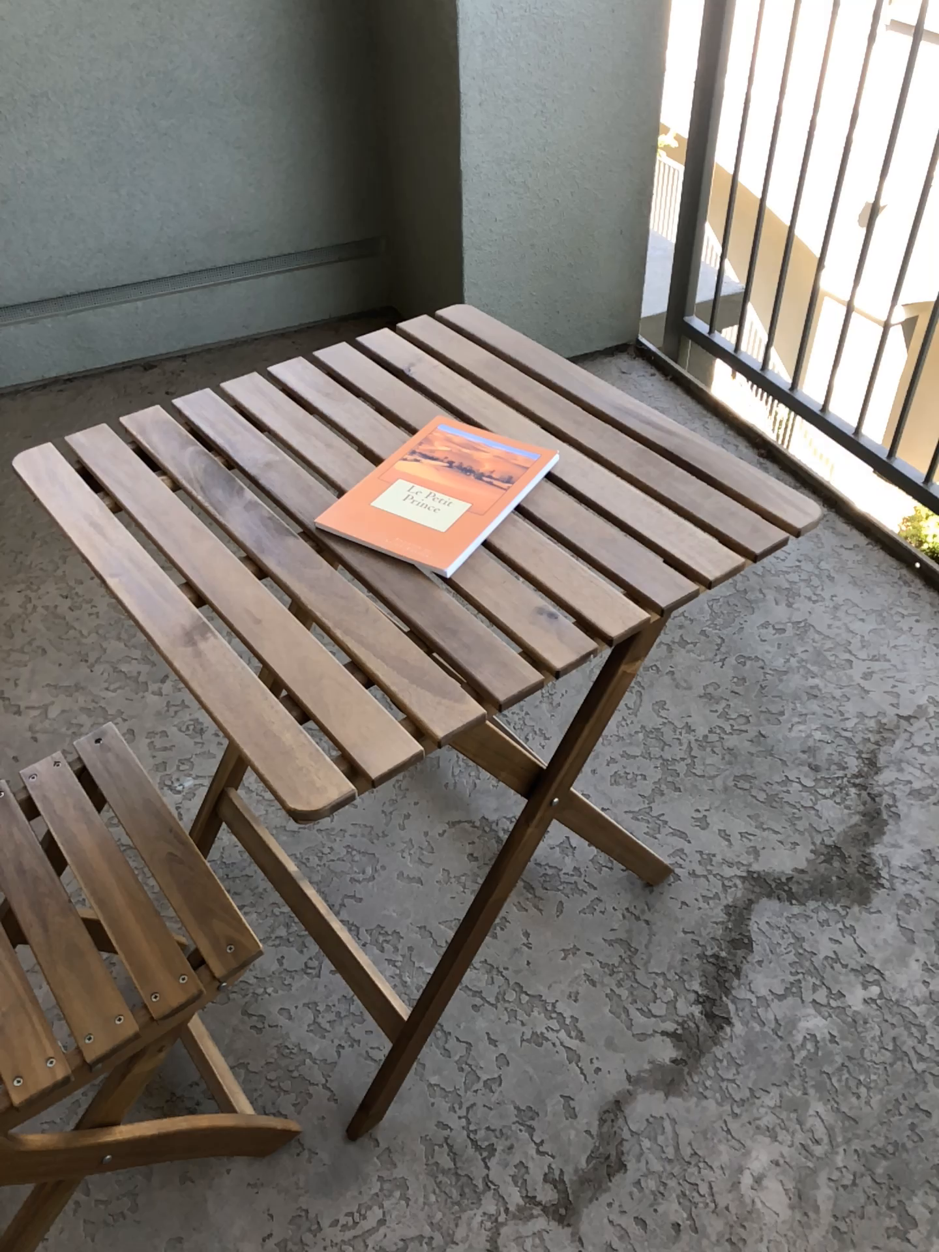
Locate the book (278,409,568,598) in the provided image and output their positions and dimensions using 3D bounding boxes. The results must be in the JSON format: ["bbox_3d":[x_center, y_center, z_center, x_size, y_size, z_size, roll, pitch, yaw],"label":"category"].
[{"bbox_3d":[-0.040,-0.132,1.029,0.180,0.010,0.251,22,47,24],"label":"book"}]
